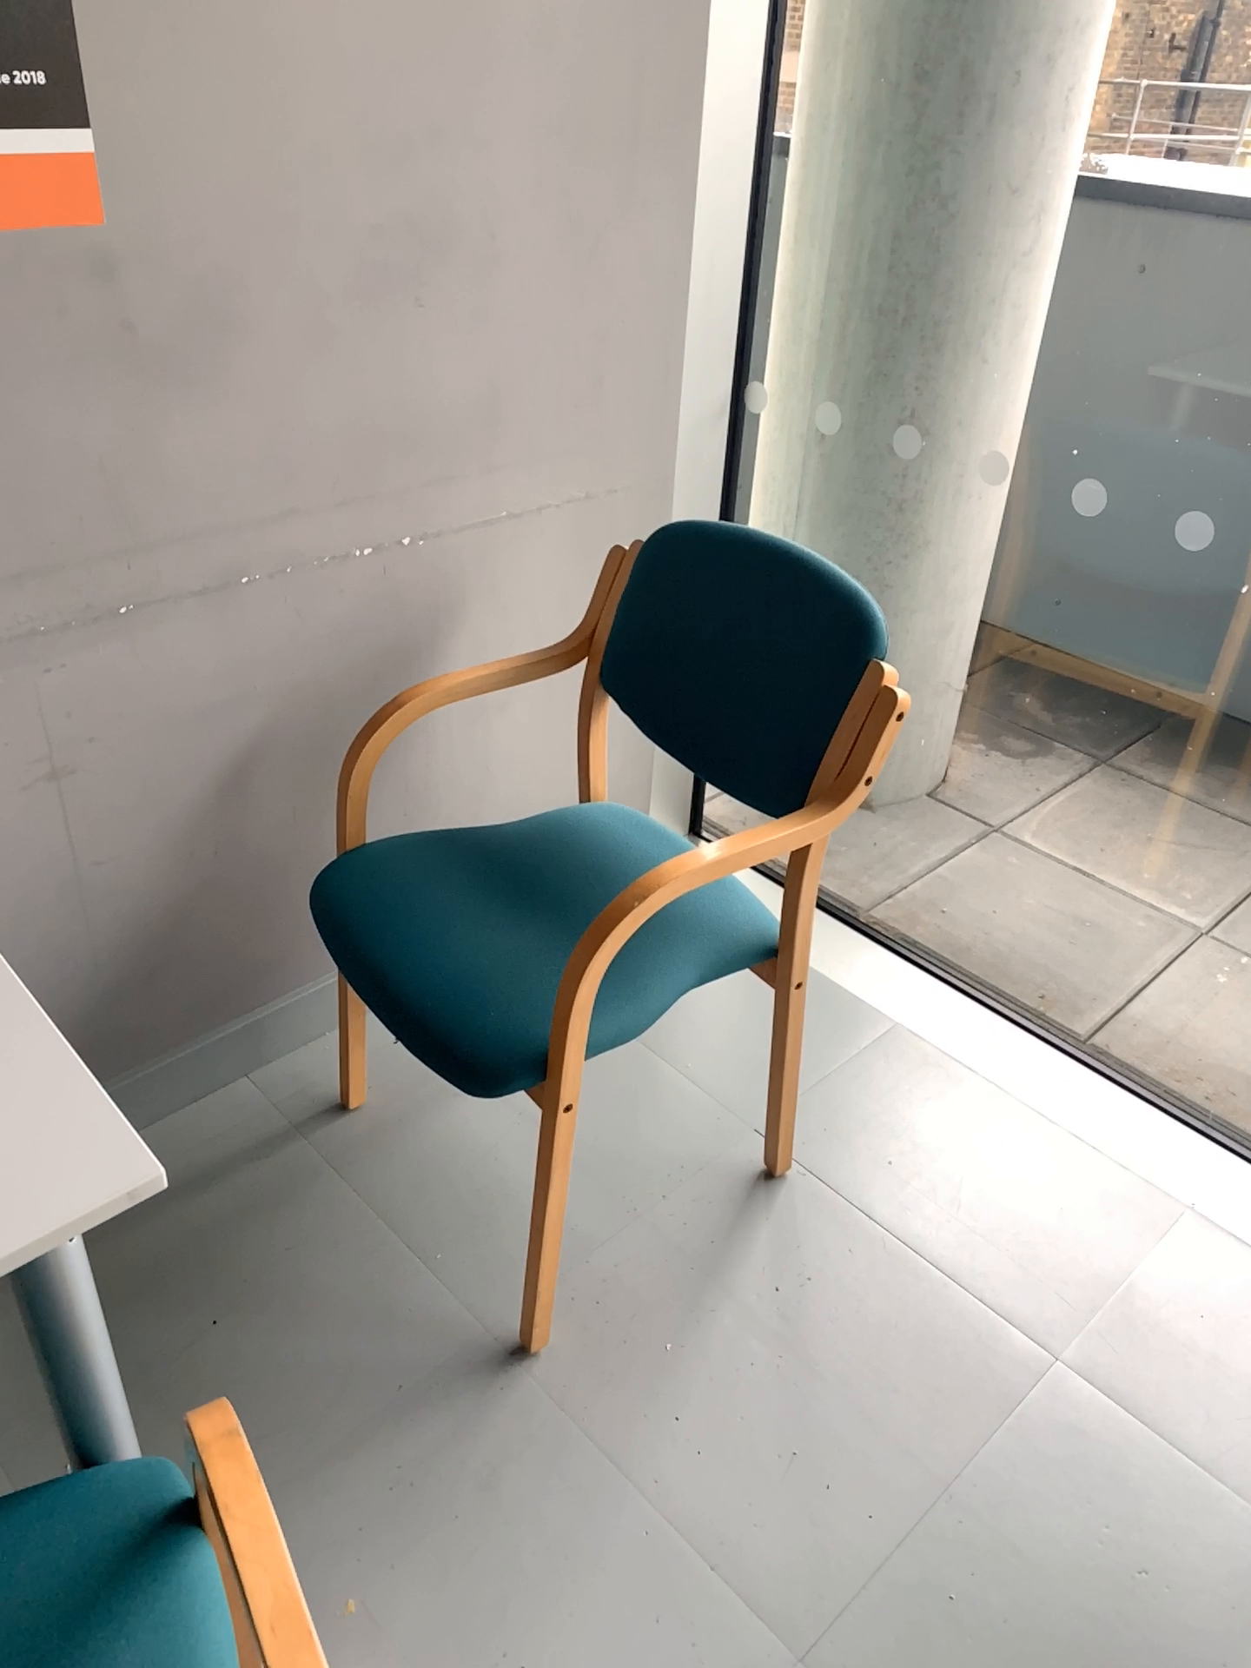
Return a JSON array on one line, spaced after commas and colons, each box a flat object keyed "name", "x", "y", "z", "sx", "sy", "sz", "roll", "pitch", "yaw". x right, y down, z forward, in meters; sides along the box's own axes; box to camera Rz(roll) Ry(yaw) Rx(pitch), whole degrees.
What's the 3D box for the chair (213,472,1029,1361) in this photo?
[{"name": "chair", "x": -0.038, "y": 0.034, "z": 1.633, "sx": 0.643, "sy": 0.723, "sz": 0.684, "roll": -22, "pitch": 41, "yaw": -35}]
